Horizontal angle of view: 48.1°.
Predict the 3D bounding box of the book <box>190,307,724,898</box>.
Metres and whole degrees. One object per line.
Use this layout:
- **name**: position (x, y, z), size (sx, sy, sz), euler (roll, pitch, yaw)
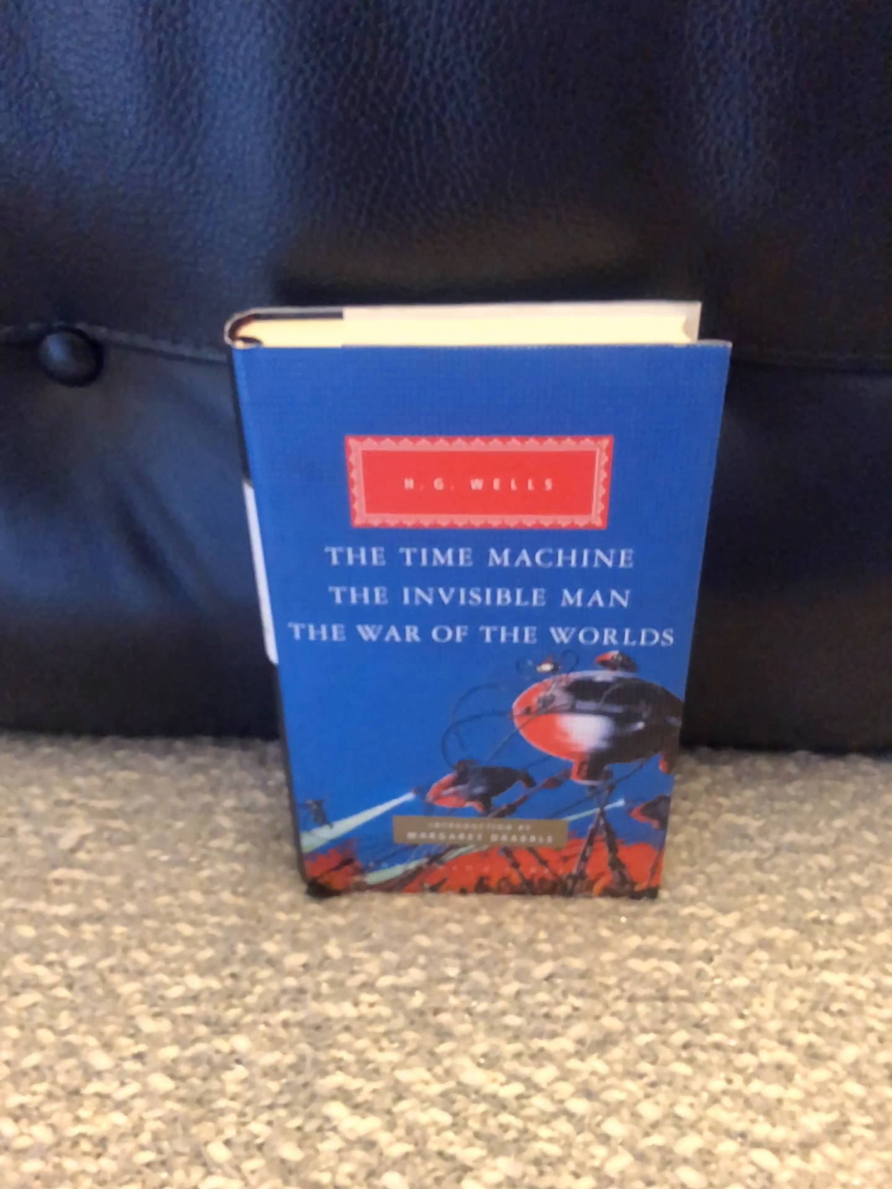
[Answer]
- **book**: position (0.005, 0.017, 0.352), size (0.148, 0.225, 0.035), euler (0, 33, 2)
